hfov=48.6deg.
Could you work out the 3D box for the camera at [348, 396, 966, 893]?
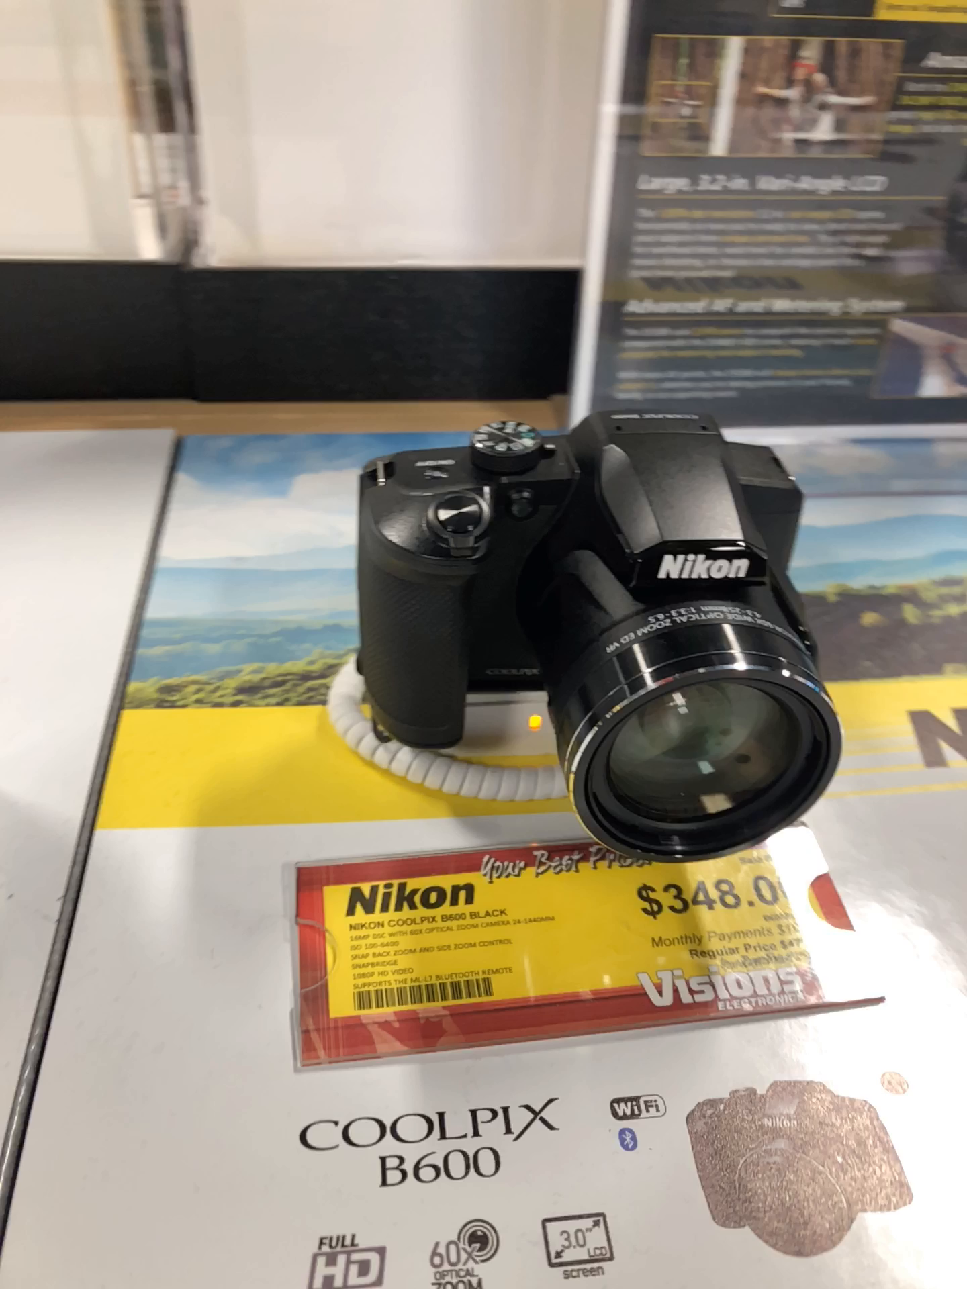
[{"bbox_3d":[0.033,-0.007,0.272,0.130,0.070,0.111,-2,37,-6],"label":"camera"}]
